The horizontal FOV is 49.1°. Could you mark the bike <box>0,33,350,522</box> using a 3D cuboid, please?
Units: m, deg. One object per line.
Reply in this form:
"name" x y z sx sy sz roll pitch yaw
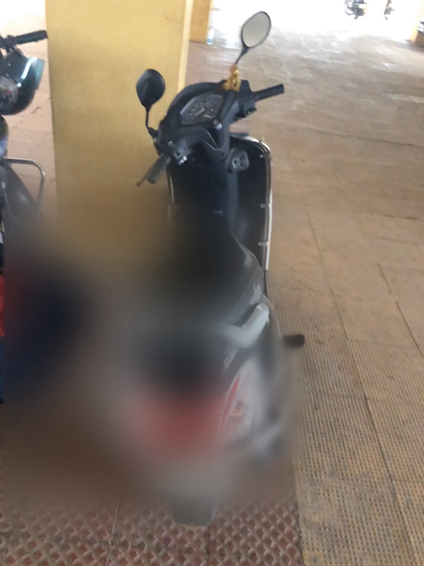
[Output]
"bike" -0.171 -0.229 1.702 0.621 0.882 1.668 5 36 -6
